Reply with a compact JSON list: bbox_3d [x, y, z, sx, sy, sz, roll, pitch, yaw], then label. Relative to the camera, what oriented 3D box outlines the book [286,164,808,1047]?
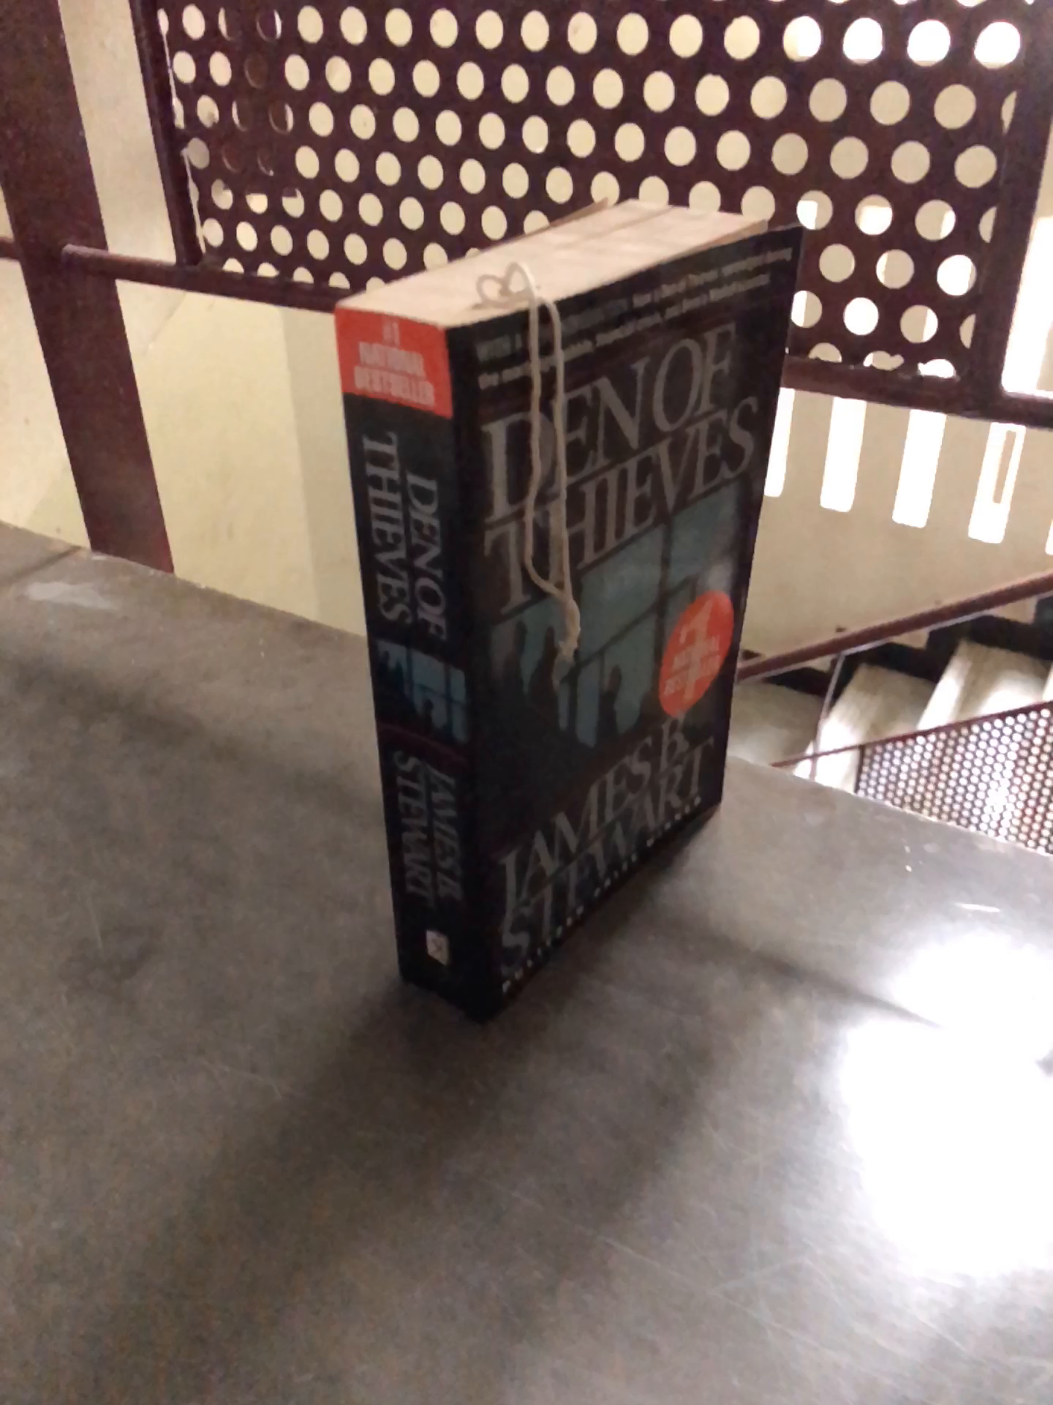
[{"bbox_3d":[0.017,-0.034,0.363,0.050,0.219,0.171,20,38,29],"label":"book"}]
